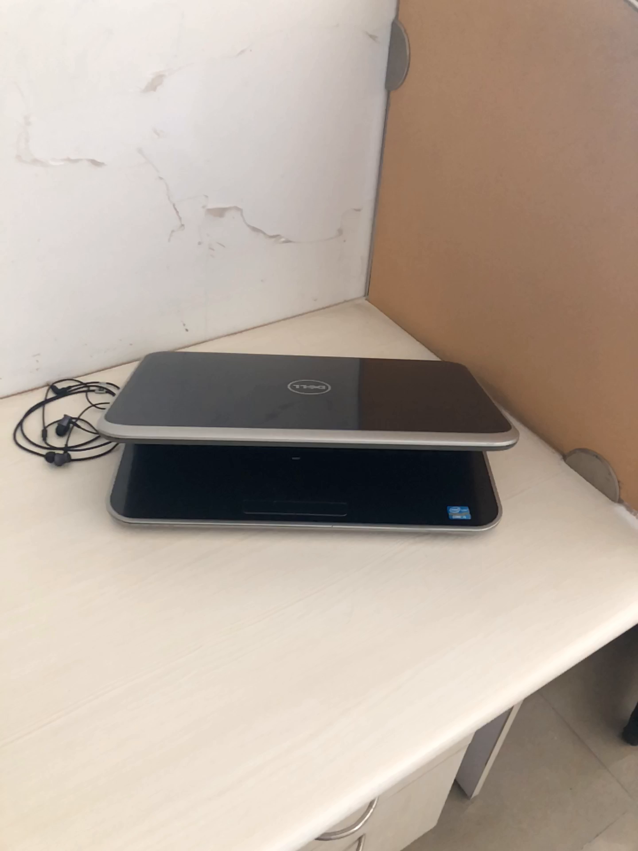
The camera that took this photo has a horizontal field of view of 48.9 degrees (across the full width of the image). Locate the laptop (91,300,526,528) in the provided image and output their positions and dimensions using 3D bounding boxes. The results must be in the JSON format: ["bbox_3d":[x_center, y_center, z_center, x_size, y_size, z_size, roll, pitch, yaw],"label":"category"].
[{"bbox_3d":[-0.010,-0.020,0.700,0.357,0.094,0.240,2,38,-2],"label":"laptop"}]
